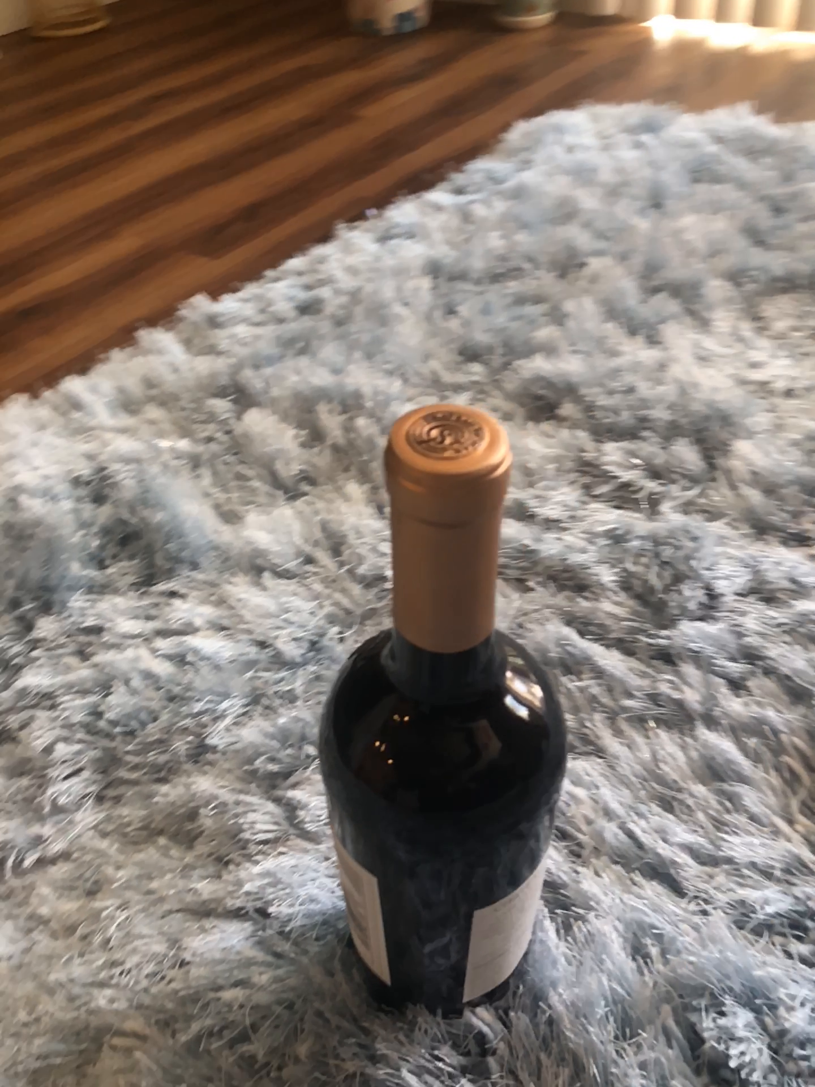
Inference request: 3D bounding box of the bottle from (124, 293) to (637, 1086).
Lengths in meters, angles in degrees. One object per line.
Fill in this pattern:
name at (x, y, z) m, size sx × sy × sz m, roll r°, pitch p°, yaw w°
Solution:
bottle at (0.008, 0.079, 0.310) m, size 0.090 × 0.299 × 0.090 m, roll -3°, pitch 41°, yaw 3°
